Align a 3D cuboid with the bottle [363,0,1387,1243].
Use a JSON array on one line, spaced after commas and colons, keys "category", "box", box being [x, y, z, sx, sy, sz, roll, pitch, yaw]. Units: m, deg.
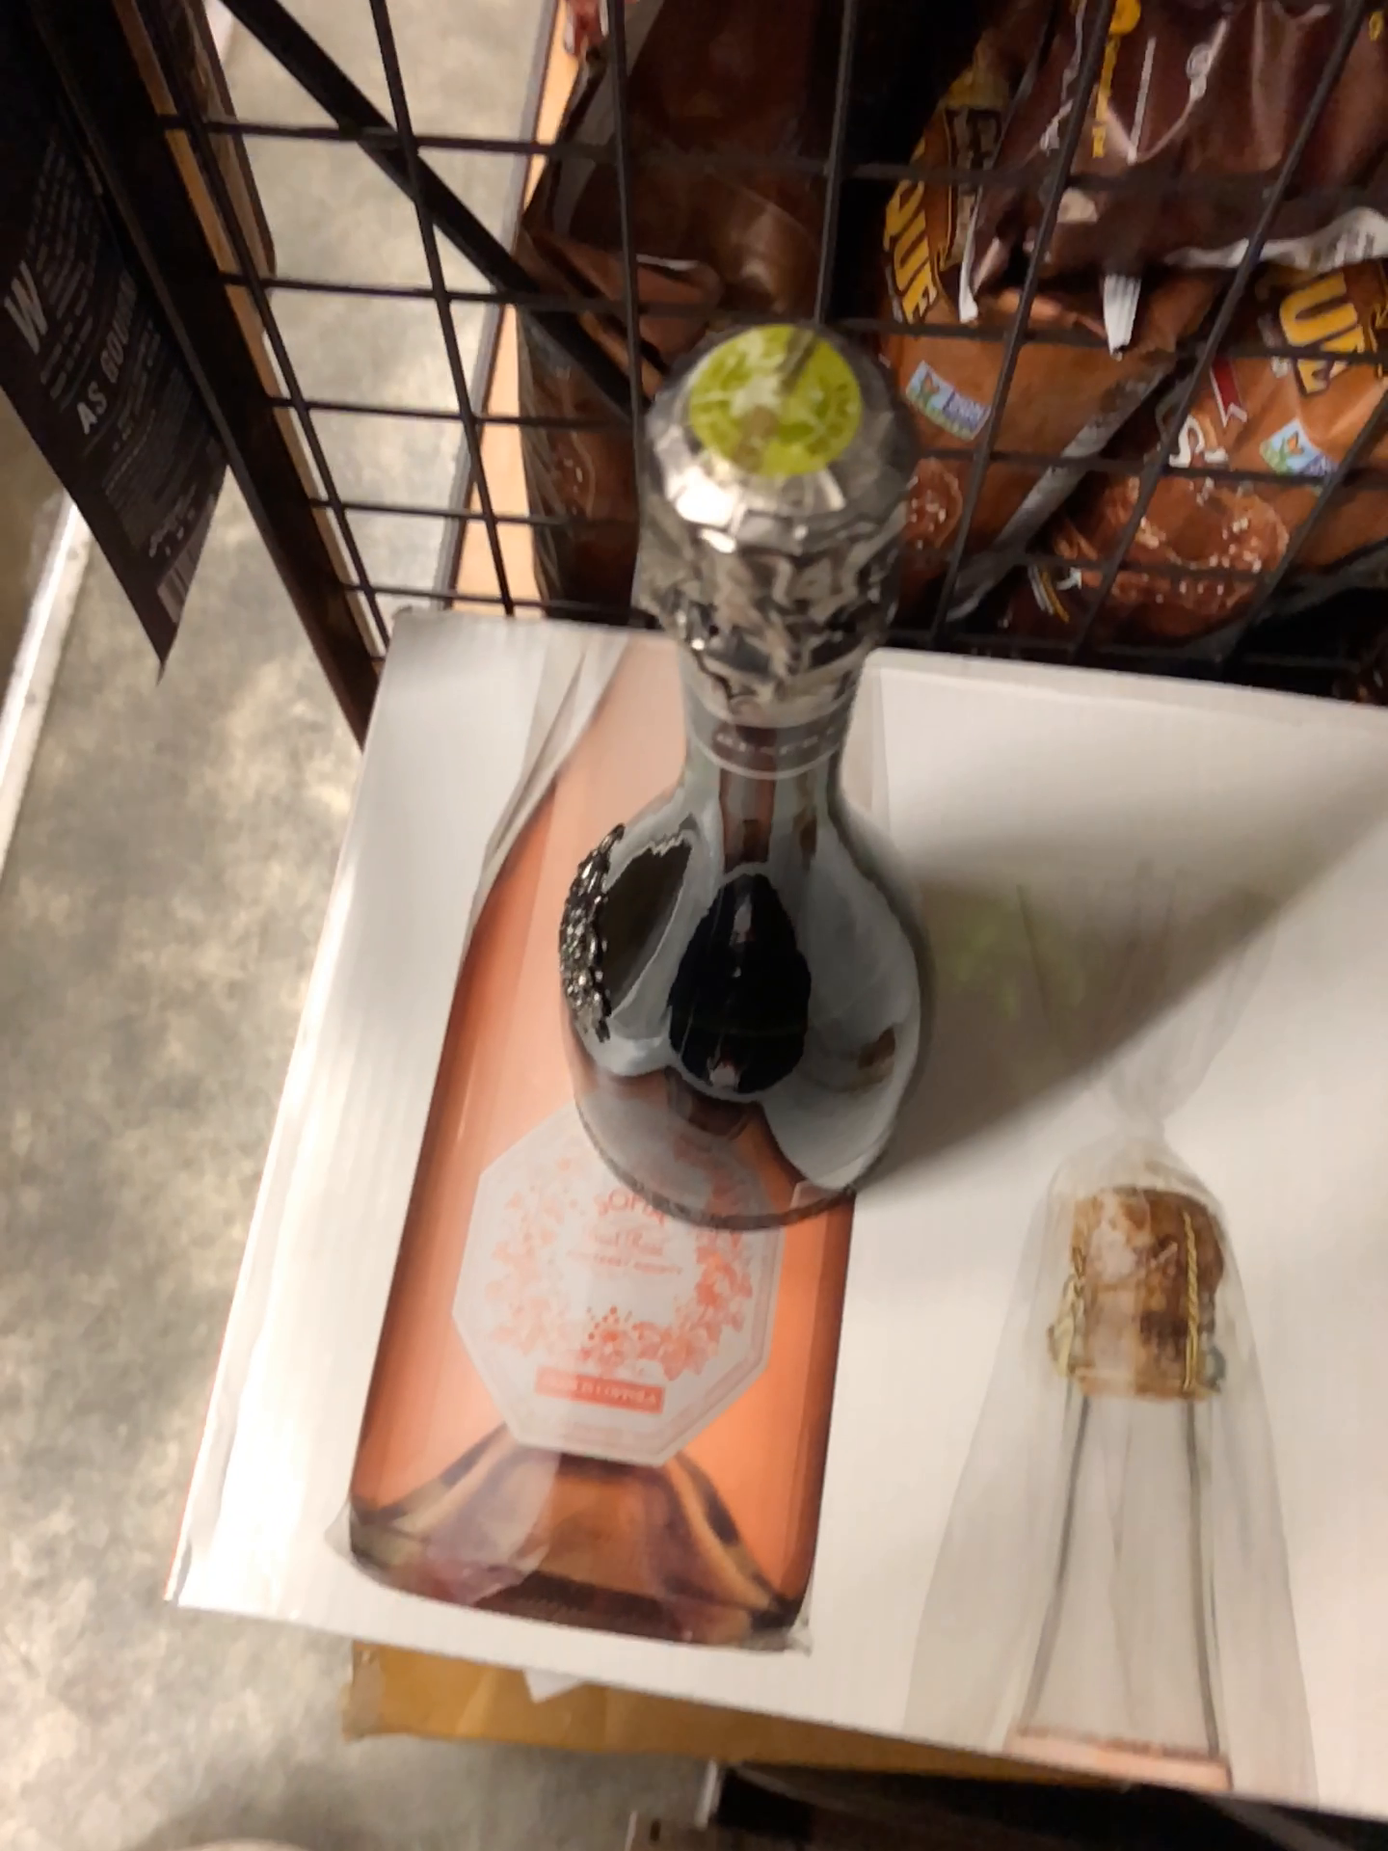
[{"category": "bottle", "box": [0.020, -0.021, 0.329, 0.110, 0.333, 0.122, -2, 70, -1]}]
